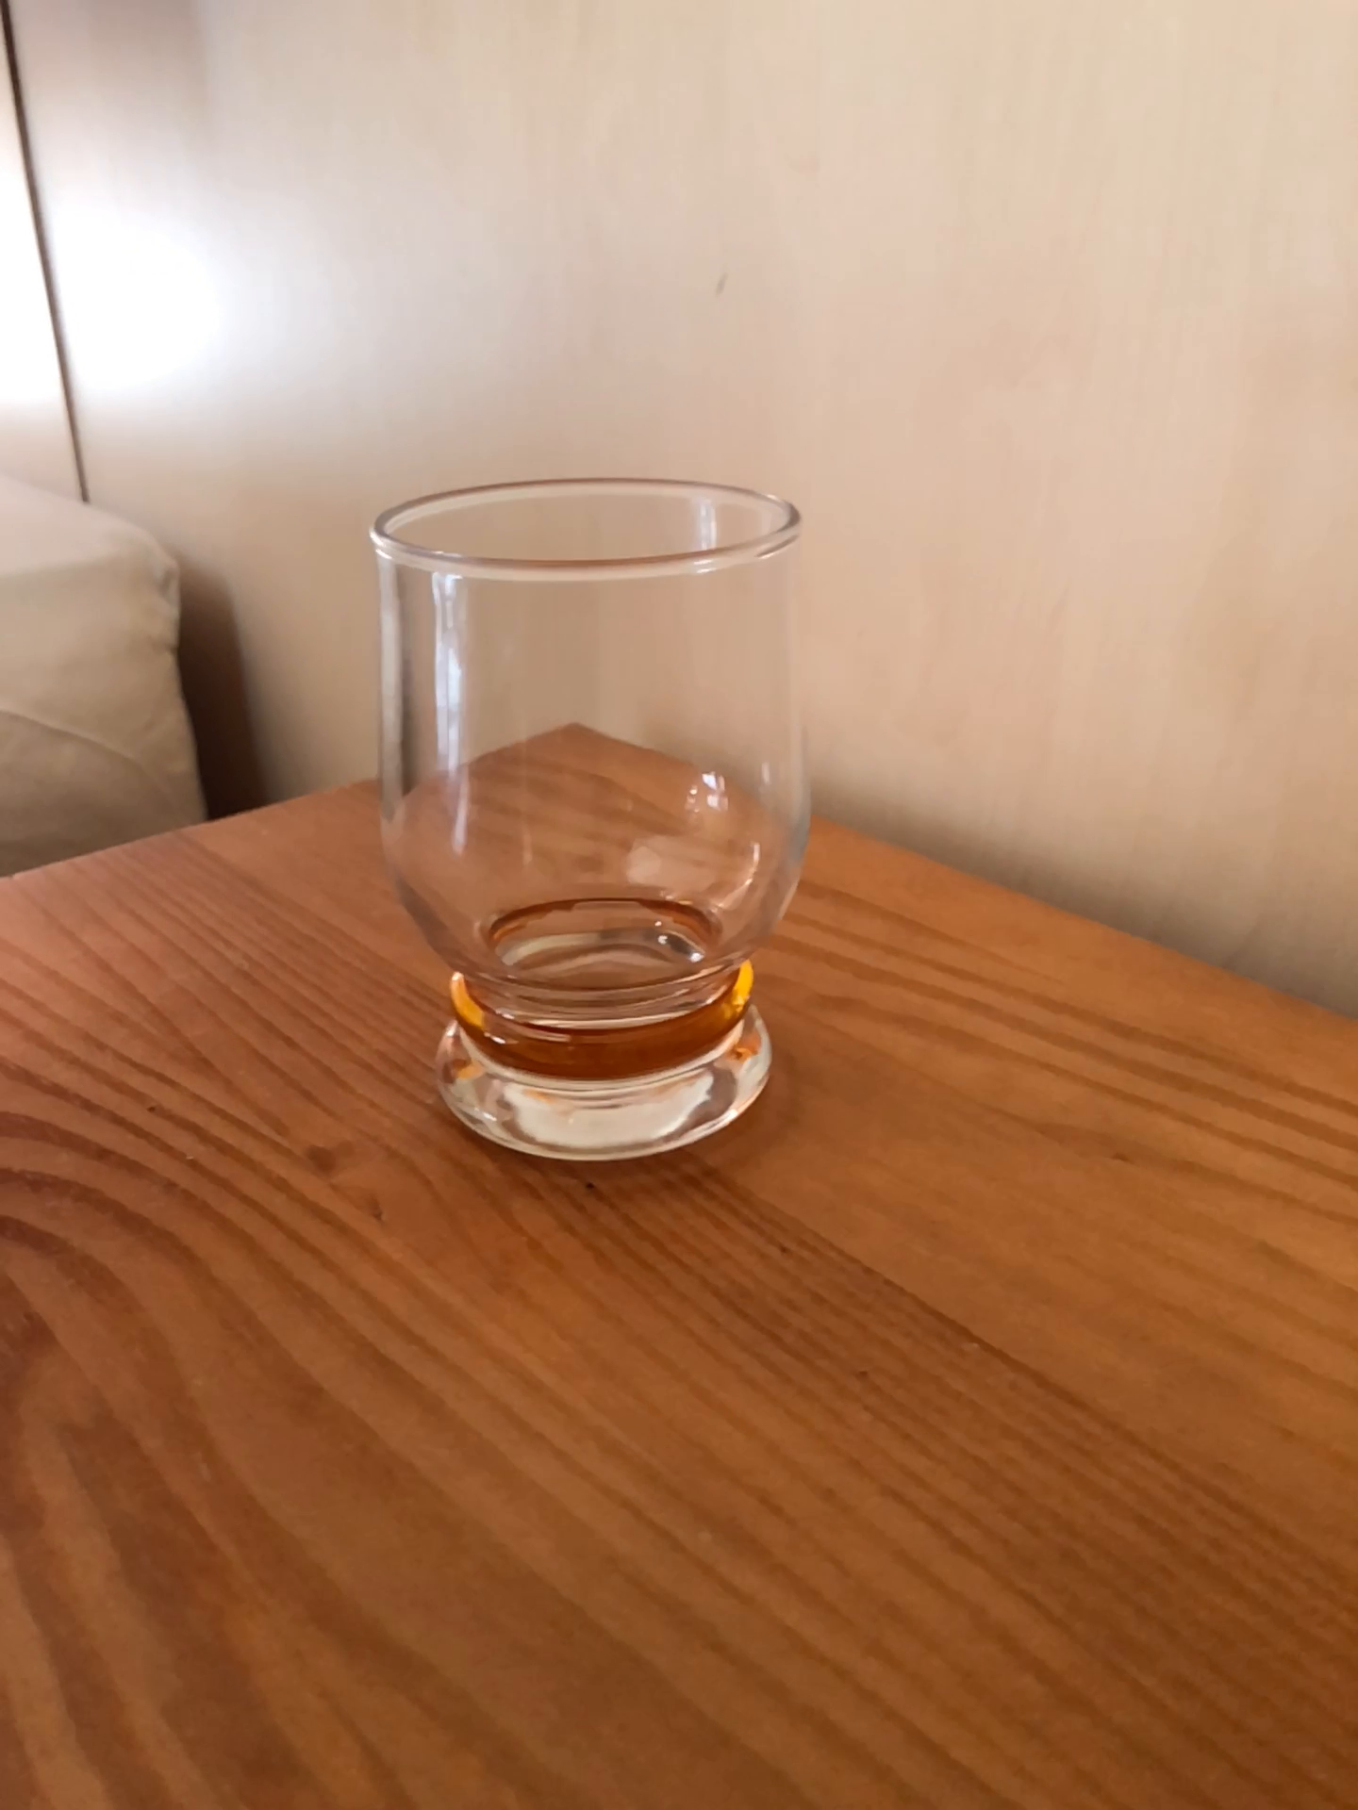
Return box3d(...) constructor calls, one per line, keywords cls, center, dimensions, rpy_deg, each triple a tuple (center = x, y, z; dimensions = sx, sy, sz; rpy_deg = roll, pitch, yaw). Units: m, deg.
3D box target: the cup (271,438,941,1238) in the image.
box3d(cls="cup", center=(-0.007, -0.017, 0.248), dimensions=(0.073, 0.099, 0.076), rpy_deg=(0, 25, 0))
